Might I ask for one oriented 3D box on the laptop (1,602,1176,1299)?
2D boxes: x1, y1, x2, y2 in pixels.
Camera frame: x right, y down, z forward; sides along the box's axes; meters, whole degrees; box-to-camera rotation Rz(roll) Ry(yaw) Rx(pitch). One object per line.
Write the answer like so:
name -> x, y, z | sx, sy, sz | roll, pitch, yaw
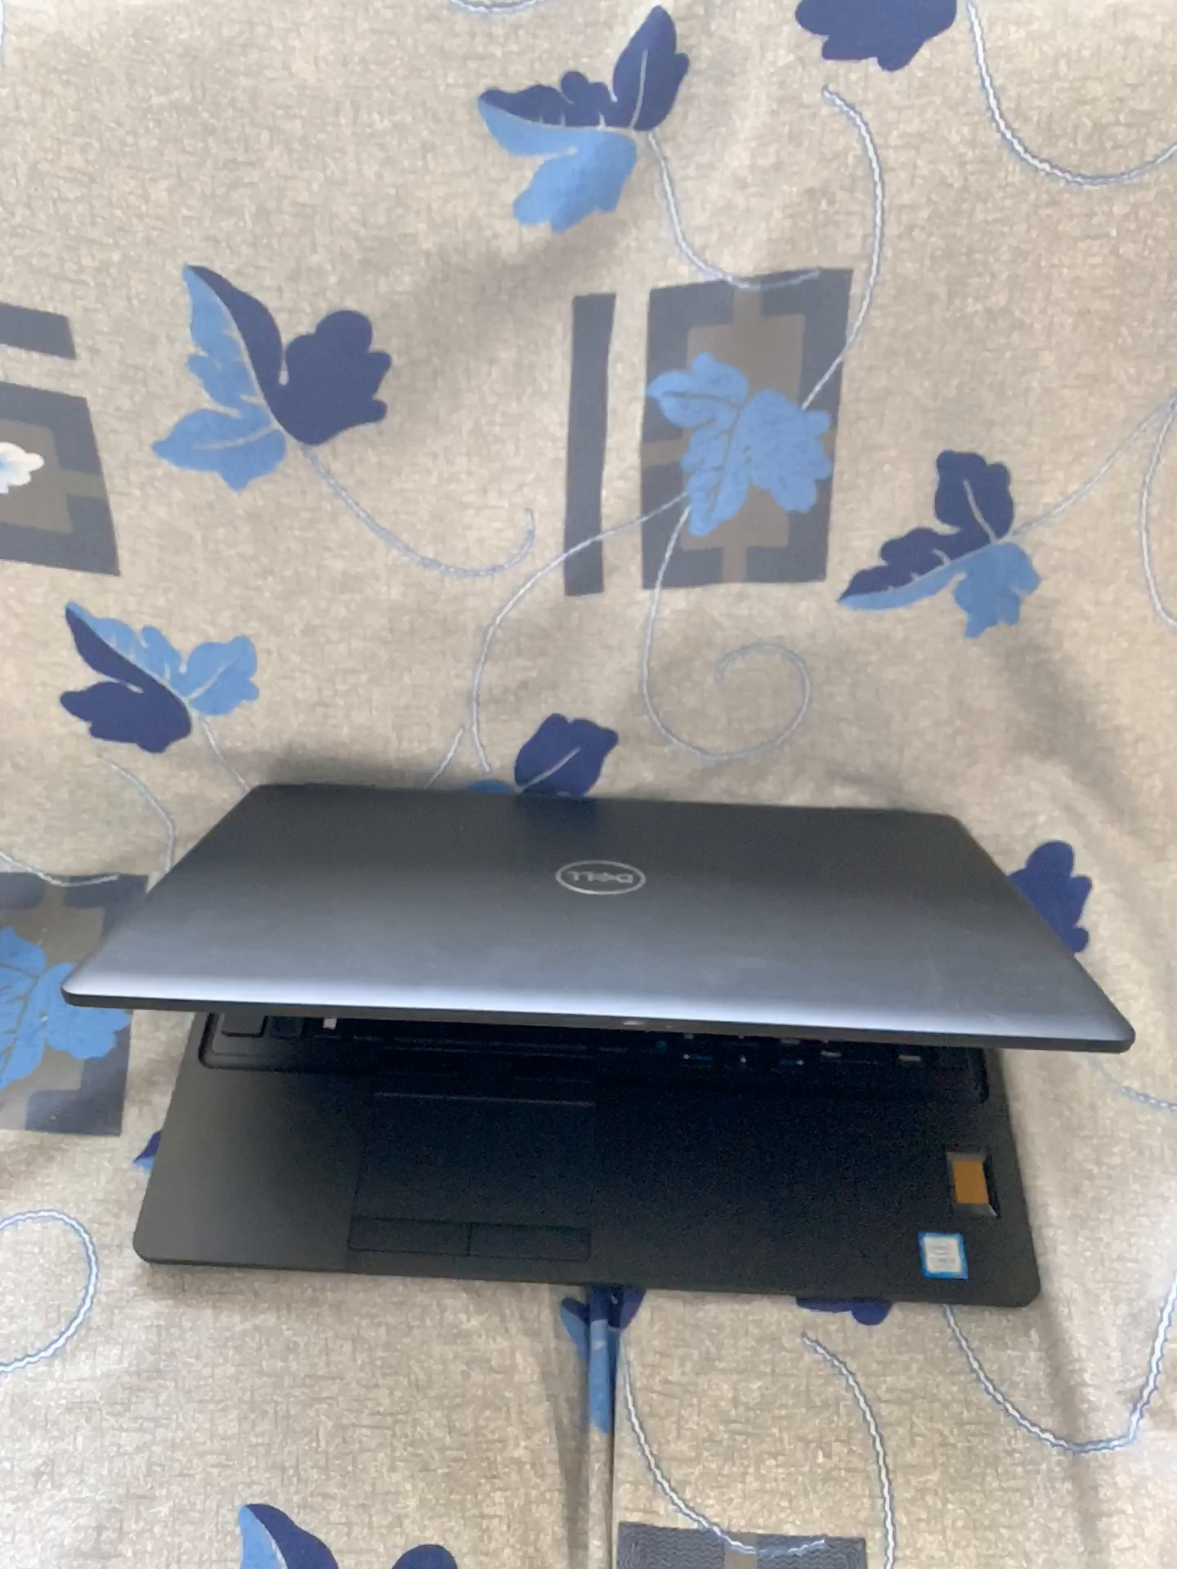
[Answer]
laptop -> 0.004, 0.064, 0.511 | 0.371, 0.142, 0.239 | 3, 52, 1
